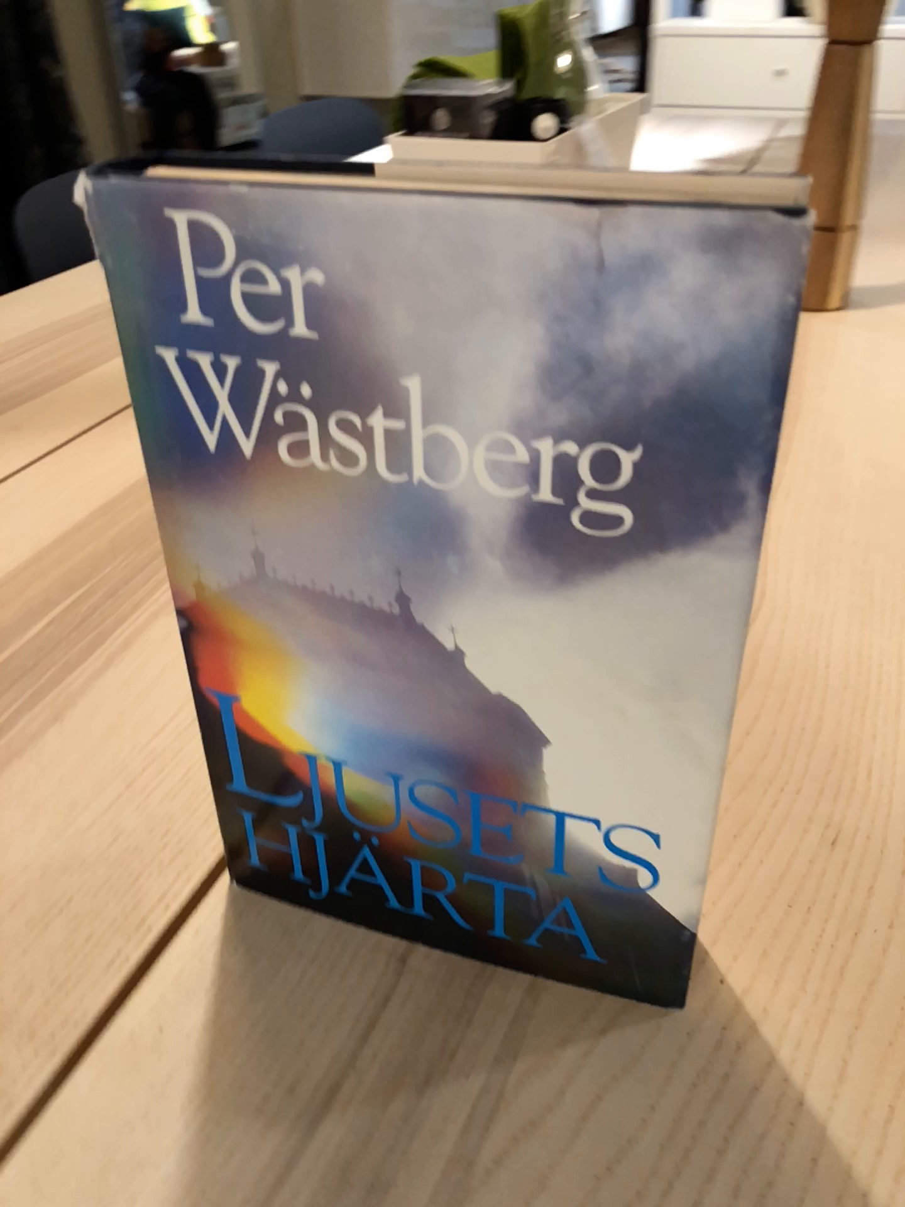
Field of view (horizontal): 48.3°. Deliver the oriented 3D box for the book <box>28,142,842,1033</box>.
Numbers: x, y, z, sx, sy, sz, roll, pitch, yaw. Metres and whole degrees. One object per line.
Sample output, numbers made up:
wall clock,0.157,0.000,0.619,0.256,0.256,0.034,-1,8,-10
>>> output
book,-0.004,0.003,0.269,0.166,0.221,0.042,10,34,18
